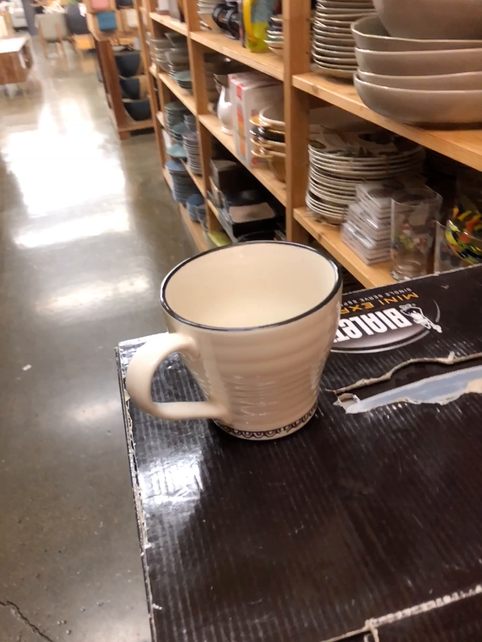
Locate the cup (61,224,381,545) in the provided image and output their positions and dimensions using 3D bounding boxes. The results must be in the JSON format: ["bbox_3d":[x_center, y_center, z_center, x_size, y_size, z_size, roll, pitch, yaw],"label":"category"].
[{"bbox_3d":[-0.001,0.020,0.284,0.102,0.084,0.130,16,40,29],"label":"cup"}]
